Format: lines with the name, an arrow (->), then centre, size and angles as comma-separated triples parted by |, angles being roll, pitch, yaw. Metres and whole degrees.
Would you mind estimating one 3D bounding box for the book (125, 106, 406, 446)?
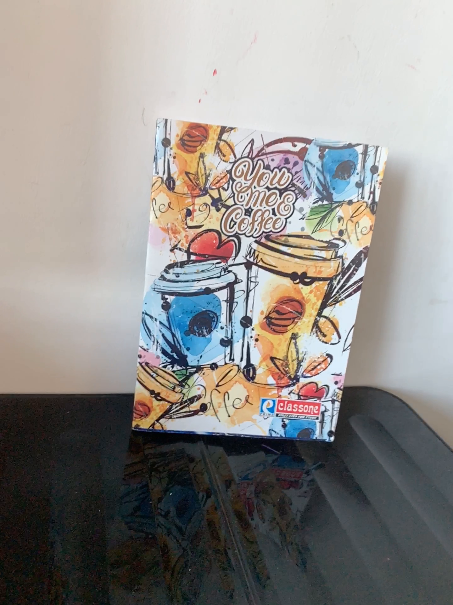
book -> 0.028, -0.012, 0.459 | 0.220, 0.299, 0.050 | 6, 14, -11
